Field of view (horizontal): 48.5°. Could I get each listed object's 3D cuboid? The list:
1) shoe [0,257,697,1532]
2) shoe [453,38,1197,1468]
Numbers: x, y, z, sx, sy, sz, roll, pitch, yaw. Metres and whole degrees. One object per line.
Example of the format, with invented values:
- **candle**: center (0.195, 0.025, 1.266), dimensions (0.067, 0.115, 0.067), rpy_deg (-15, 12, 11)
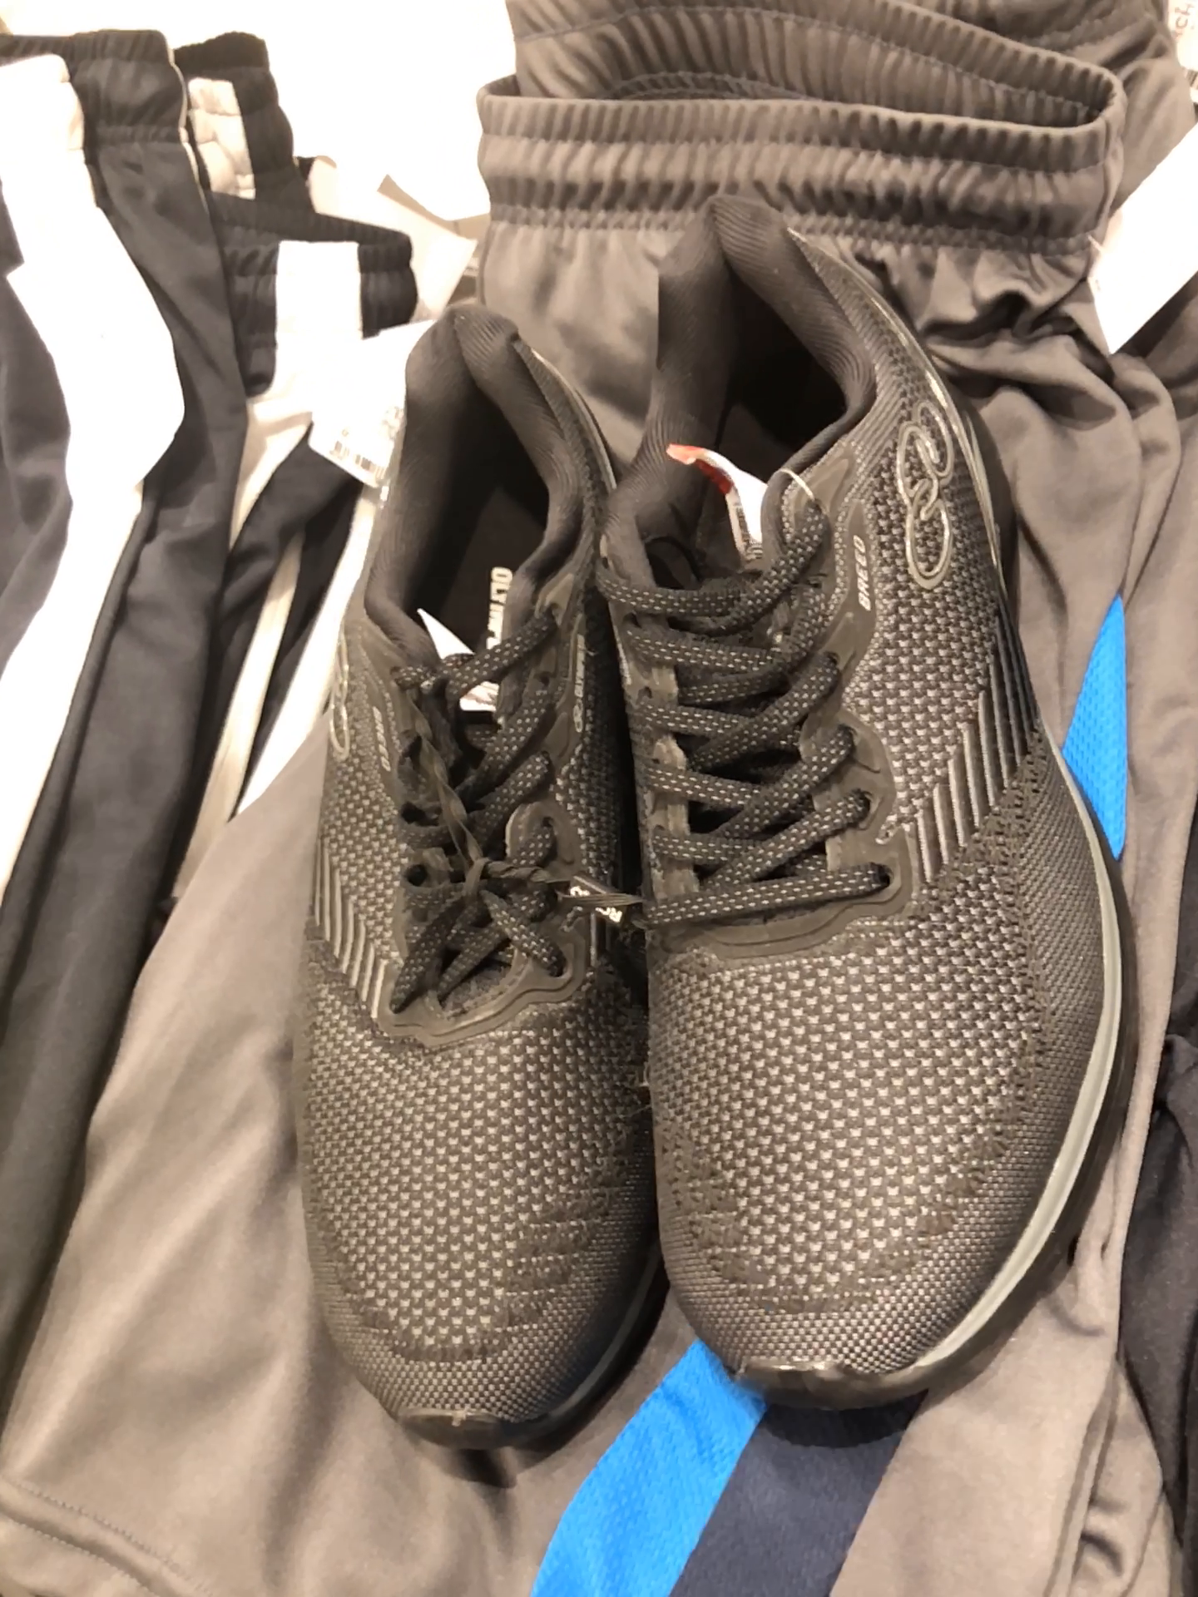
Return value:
- **shoe**: center (-0.044, 0.014, 0.316), dimensions (0.100, 0.099, 0.271), rpy_deg (-8, 57, 21)
- **shoe**: center (0.053, -0.020, 0.286), dimensions (0.100, 0.099, 0.281), rpy_deg (-8, 57, 21)
